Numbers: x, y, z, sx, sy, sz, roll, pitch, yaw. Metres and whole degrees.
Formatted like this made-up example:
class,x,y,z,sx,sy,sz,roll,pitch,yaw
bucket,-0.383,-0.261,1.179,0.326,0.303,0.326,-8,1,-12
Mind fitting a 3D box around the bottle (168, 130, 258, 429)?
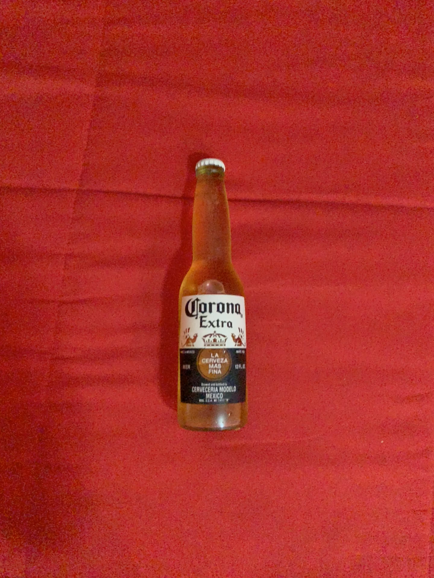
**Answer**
class,x,y,z,sx,sy,sz,roll,pitch,yaw
bottle,-0.005,-0.009,0.405,0.070,0.070,0.250,-1,86,-1
